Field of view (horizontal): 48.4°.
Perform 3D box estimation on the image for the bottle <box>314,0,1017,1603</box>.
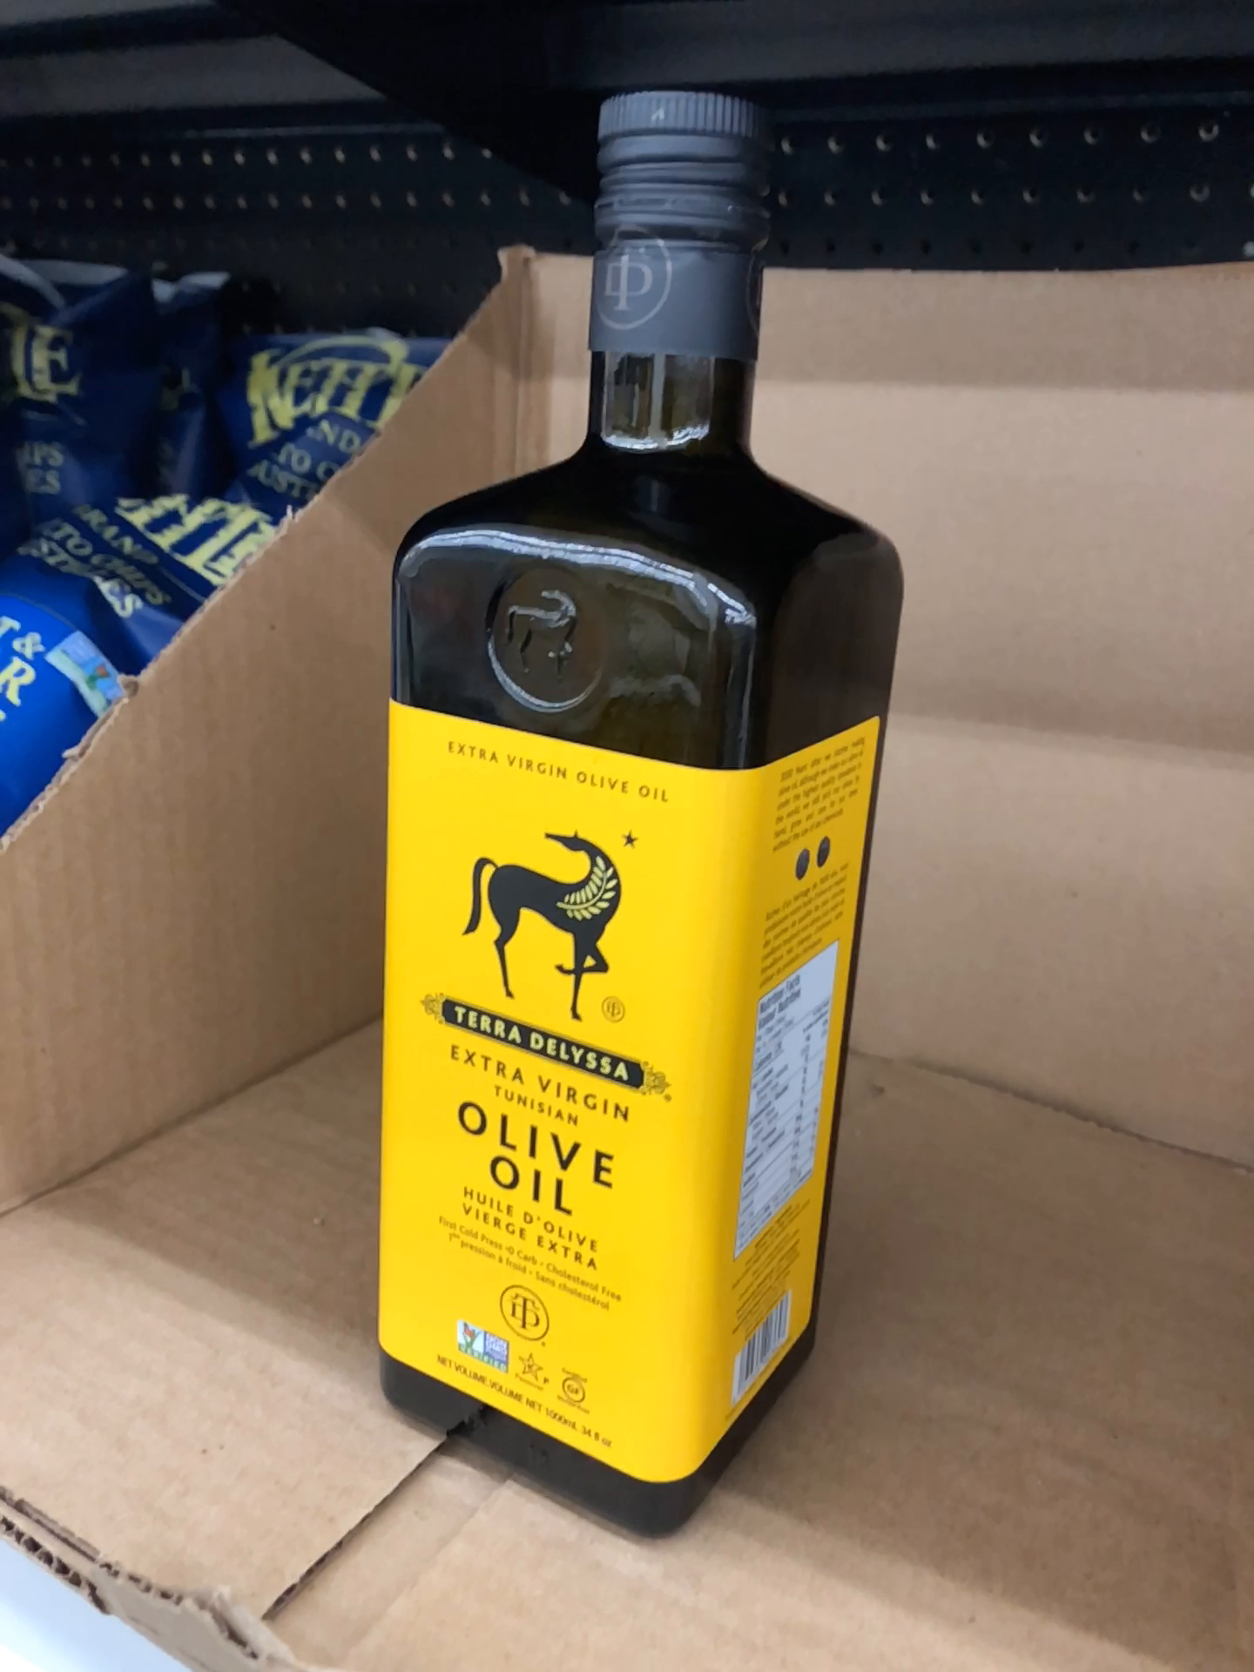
[{"bbox_3d":[0.006,-0.004,0.292,0.090,0.288,0.090,2,19,-1],"label":"bottle"}]
